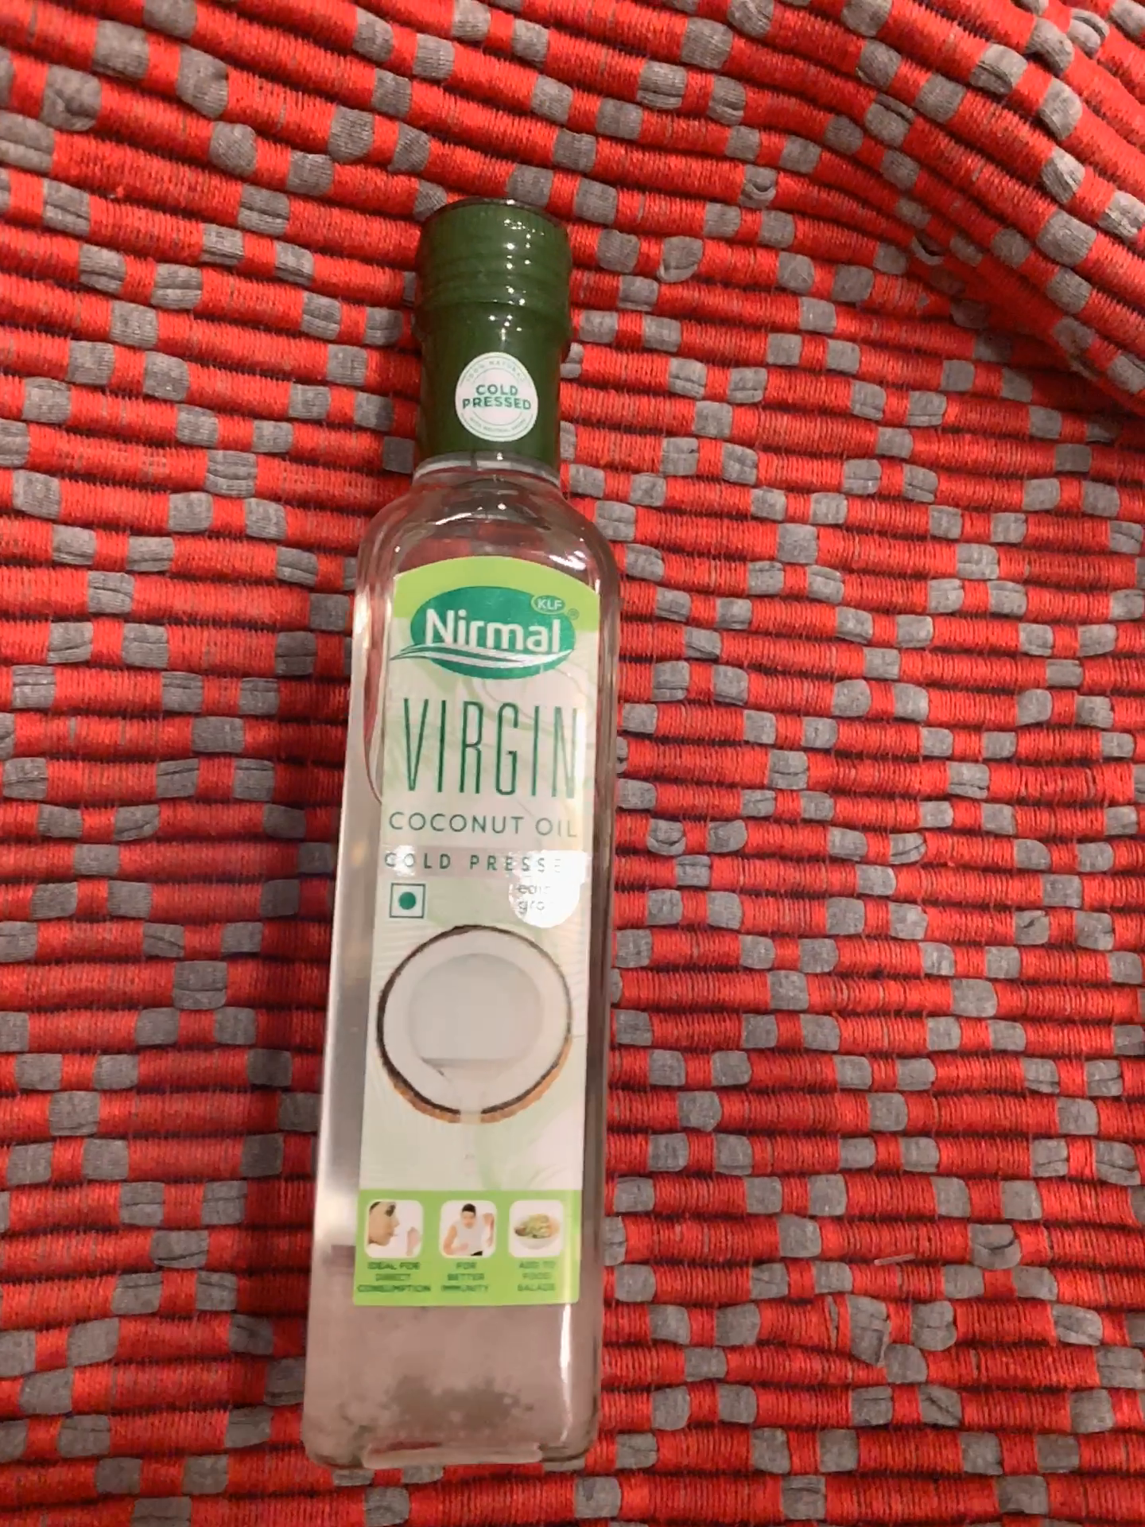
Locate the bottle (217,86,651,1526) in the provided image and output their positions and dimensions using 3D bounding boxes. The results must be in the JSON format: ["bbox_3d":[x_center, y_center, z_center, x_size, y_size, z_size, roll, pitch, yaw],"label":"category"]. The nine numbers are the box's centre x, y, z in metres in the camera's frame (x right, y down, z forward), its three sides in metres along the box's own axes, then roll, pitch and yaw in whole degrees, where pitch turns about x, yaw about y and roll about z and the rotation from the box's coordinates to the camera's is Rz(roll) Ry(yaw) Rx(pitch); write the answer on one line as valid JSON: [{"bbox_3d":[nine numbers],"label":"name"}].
[{"bbox_3d":[-0.022,0.001,0.214,0.060,0.060,0.220,2,80,-9],"label":"bottle"}]
